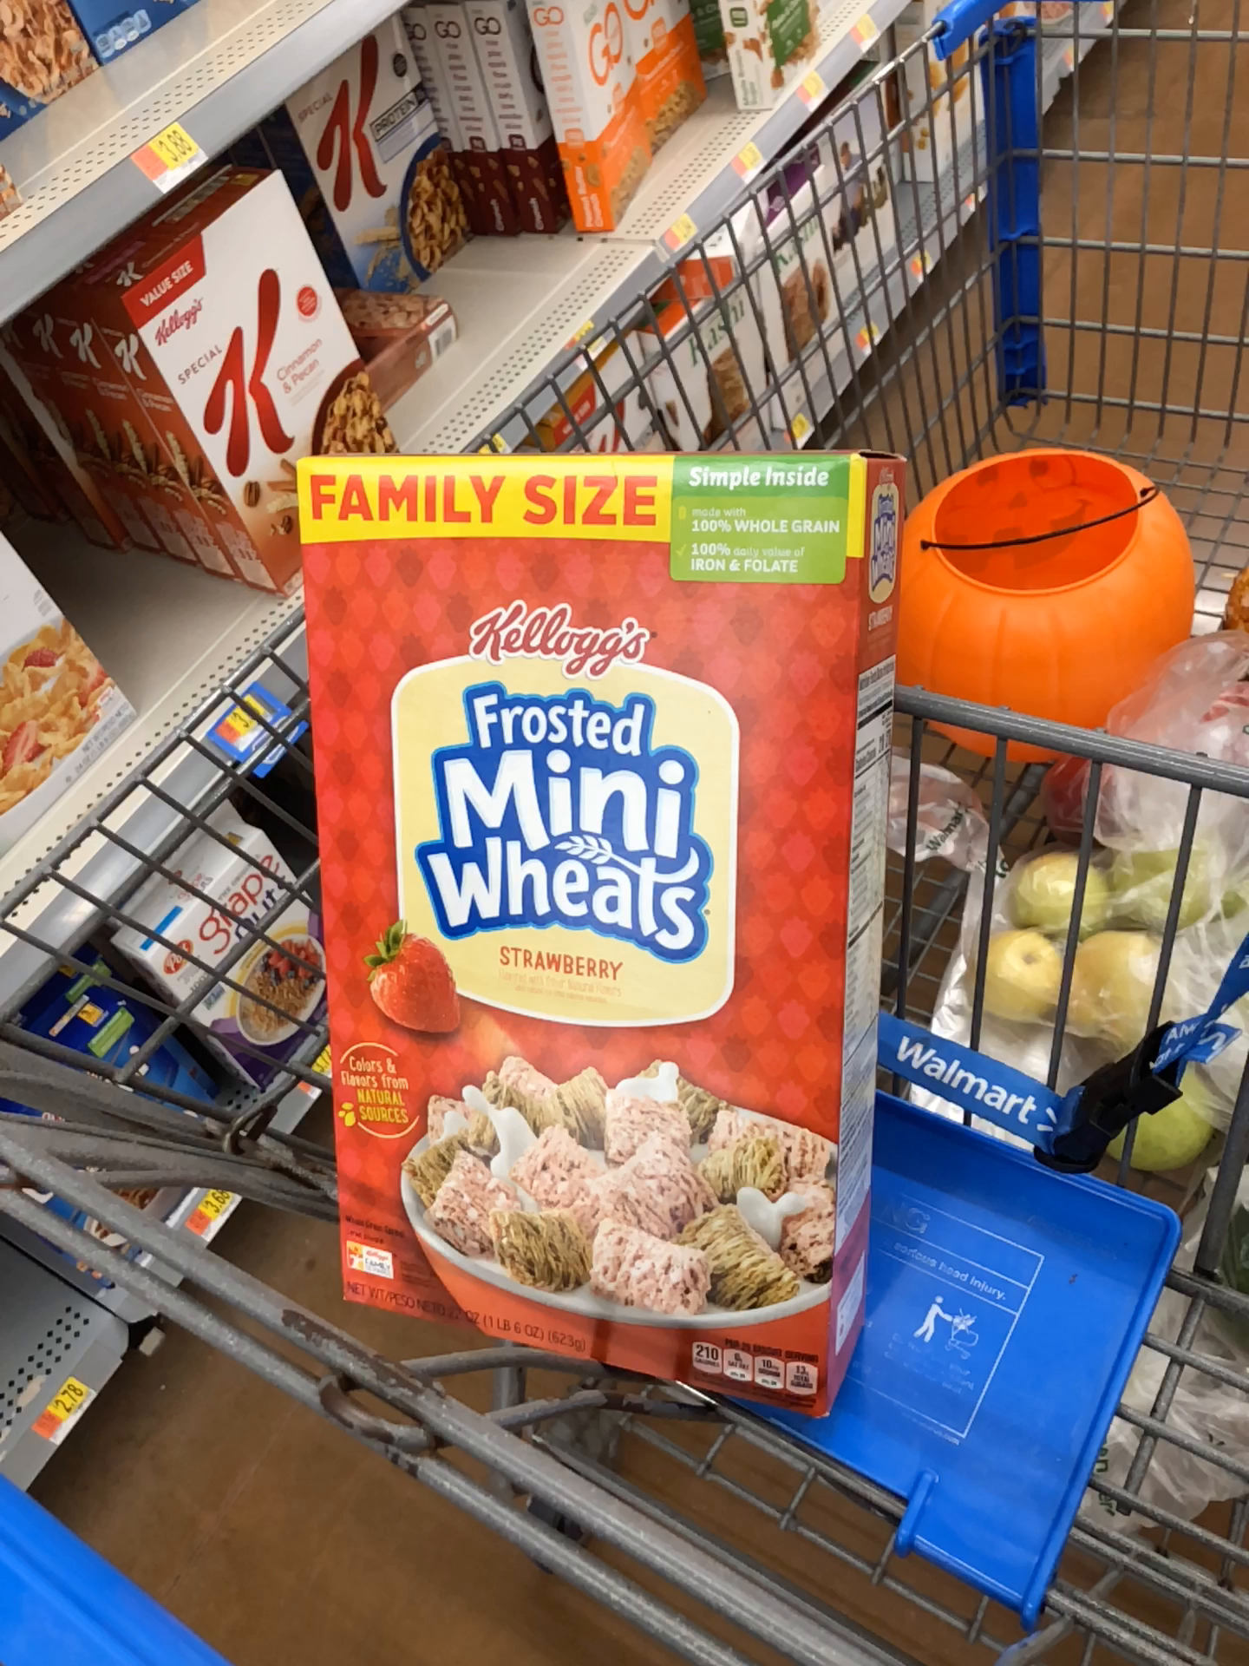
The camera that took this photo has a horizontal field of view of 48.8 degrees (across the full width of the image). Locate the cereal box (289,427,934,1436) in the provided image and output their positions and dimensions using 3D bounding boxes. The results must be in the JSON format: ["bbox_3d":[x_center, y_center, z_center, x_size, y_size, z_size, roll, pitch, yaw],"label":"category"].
[{"bbox_3d":[-0.005,0.027,0.487,0.200,0.320,0.070,5,14,22],"label":"cereal box"}]
